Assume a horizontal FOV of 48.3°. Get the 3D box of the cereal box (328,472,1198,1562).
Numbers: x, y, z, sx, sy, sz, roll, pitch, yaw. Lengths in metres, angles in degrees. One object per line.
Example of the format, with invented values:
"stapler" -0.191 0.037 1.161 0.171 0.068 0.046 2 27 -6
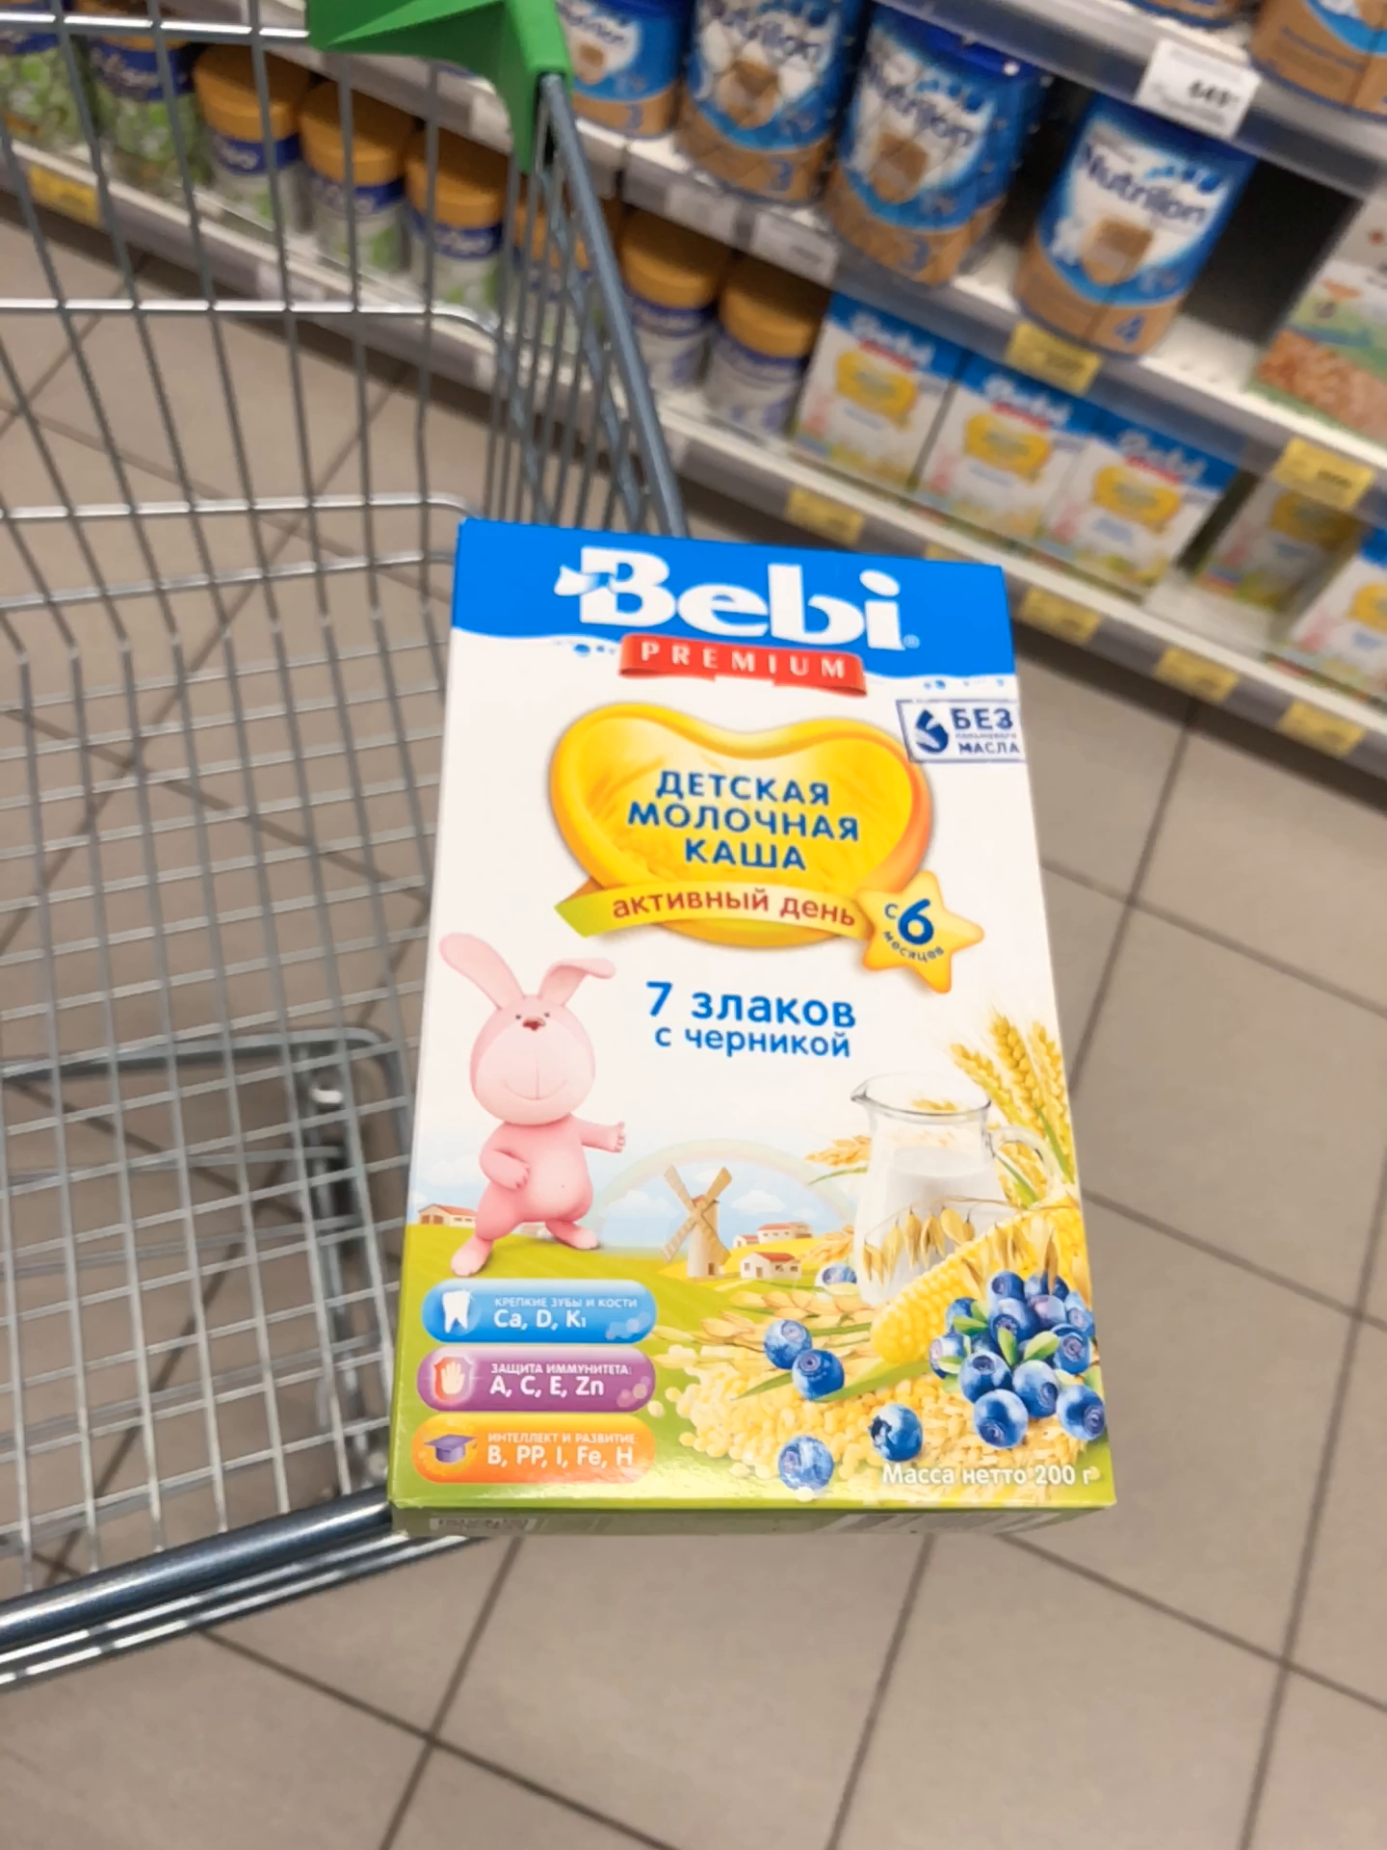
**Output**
"cereal box" 0.009 0.013 0.313 0.140 0.050 0.211 3 64 -8
